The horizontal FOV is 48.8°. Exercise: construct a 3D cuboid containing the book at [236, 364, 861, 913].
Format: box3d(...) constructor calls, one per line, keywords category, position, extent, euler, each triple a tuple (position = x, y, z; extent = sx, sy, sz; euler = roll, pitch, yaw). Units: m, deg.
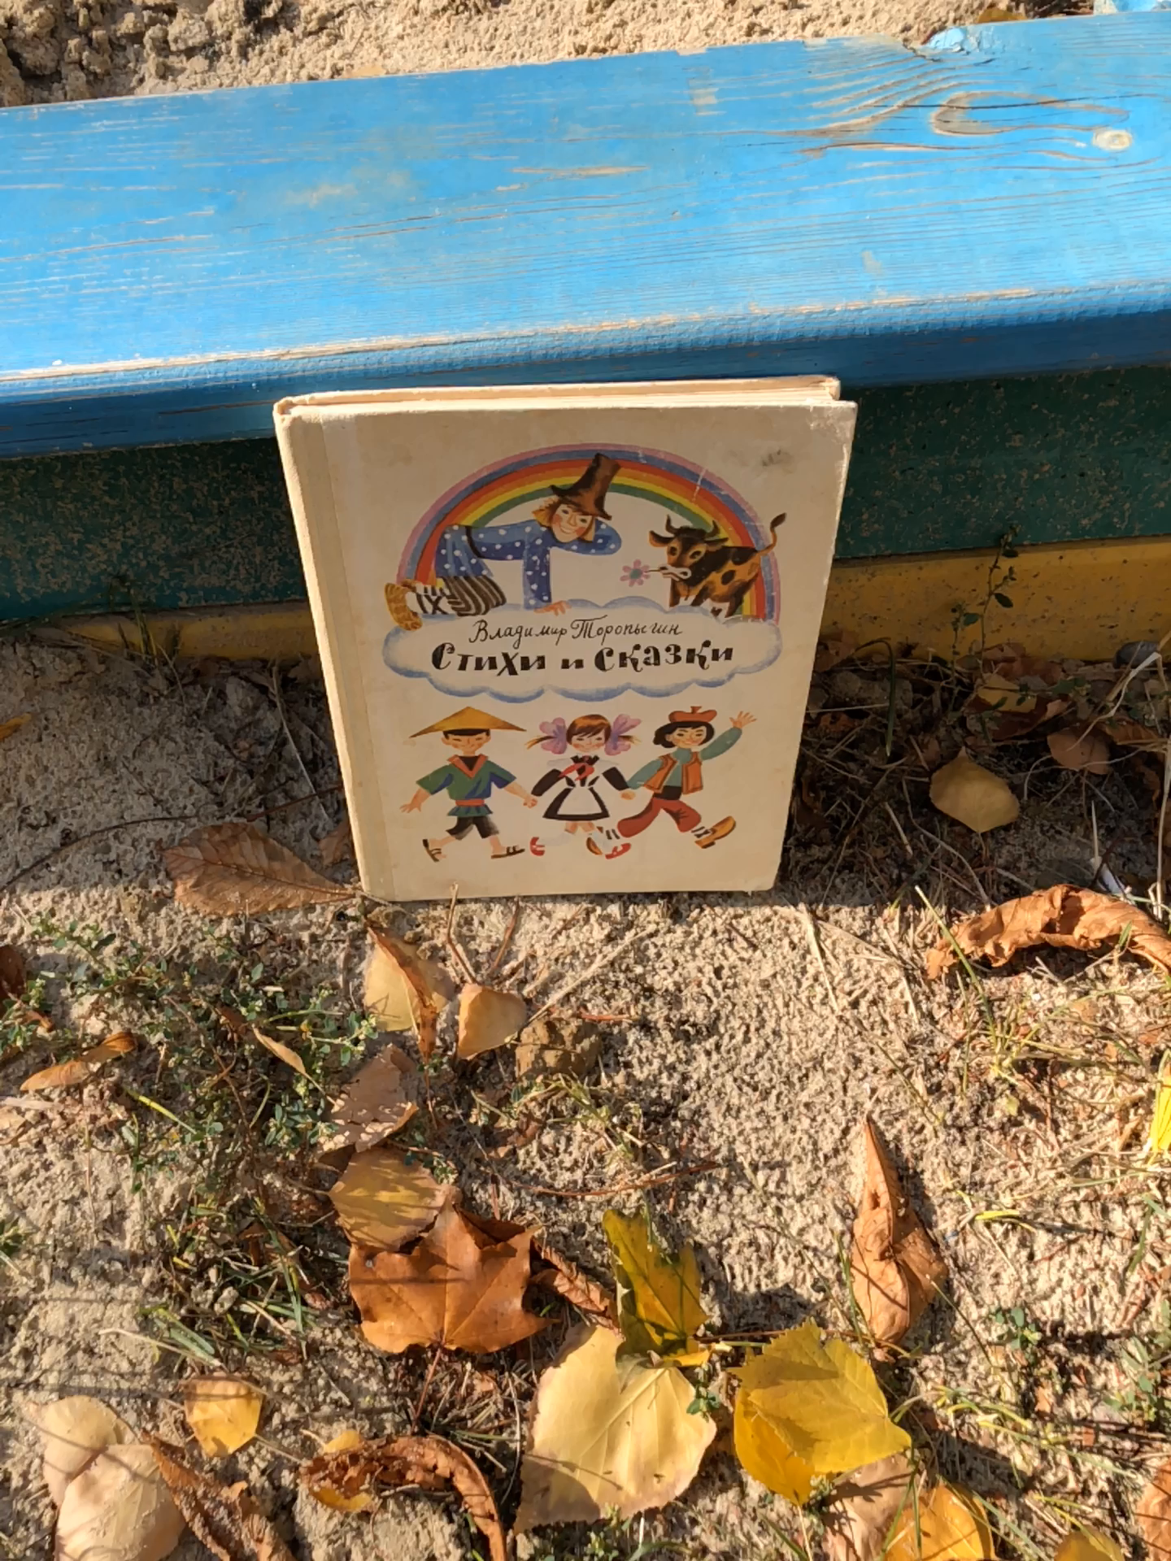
box3d(category="book", position=(-0.008, -0.036, 0.448), extent=(0.178, 0.213, 0.024), euler=(-2, 43, 1))
